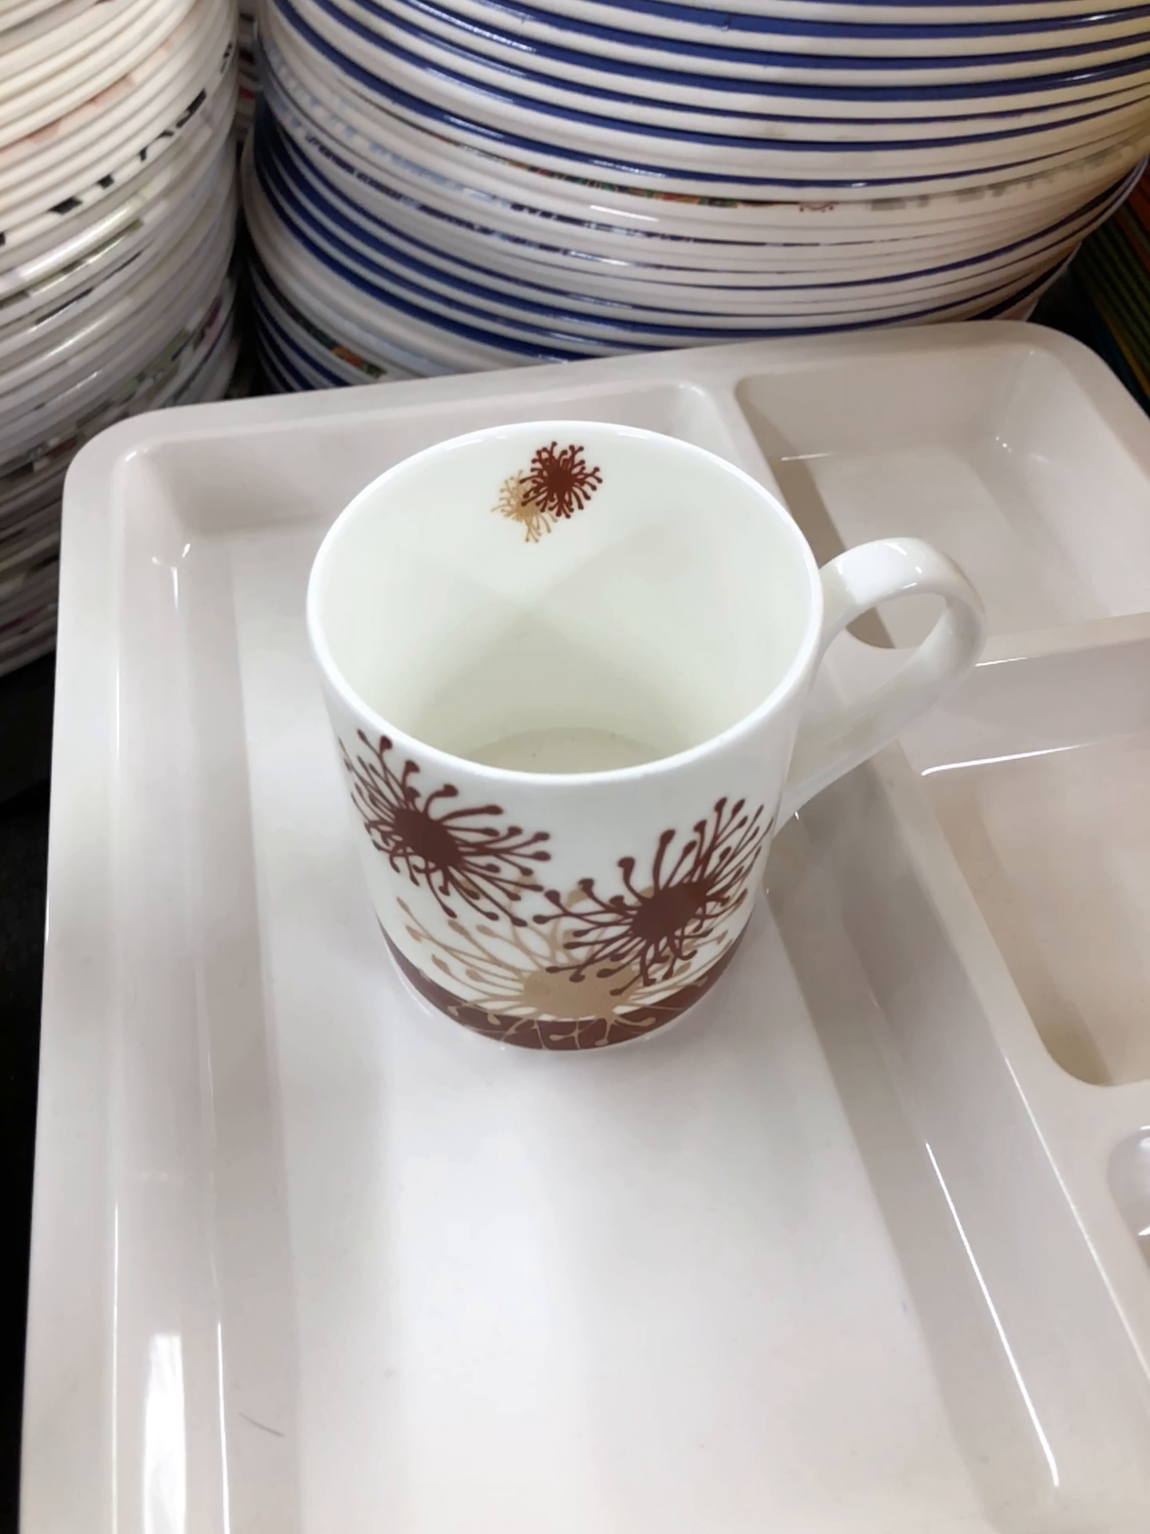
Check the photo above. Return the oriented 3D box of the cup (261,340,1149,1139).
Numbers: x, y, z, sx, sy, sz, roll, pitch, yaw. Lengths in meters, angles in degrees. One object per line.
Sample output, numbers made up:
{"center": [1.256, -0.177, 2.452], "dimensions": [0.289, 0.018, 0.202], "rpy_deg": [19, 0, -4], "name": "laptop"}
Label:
{"center": [0.018, -0.005, 0.227], "dimensions": [0.120, 0.090, 0.080], "rpy_deg": [-13, 54, -13], "name": "cup"}
